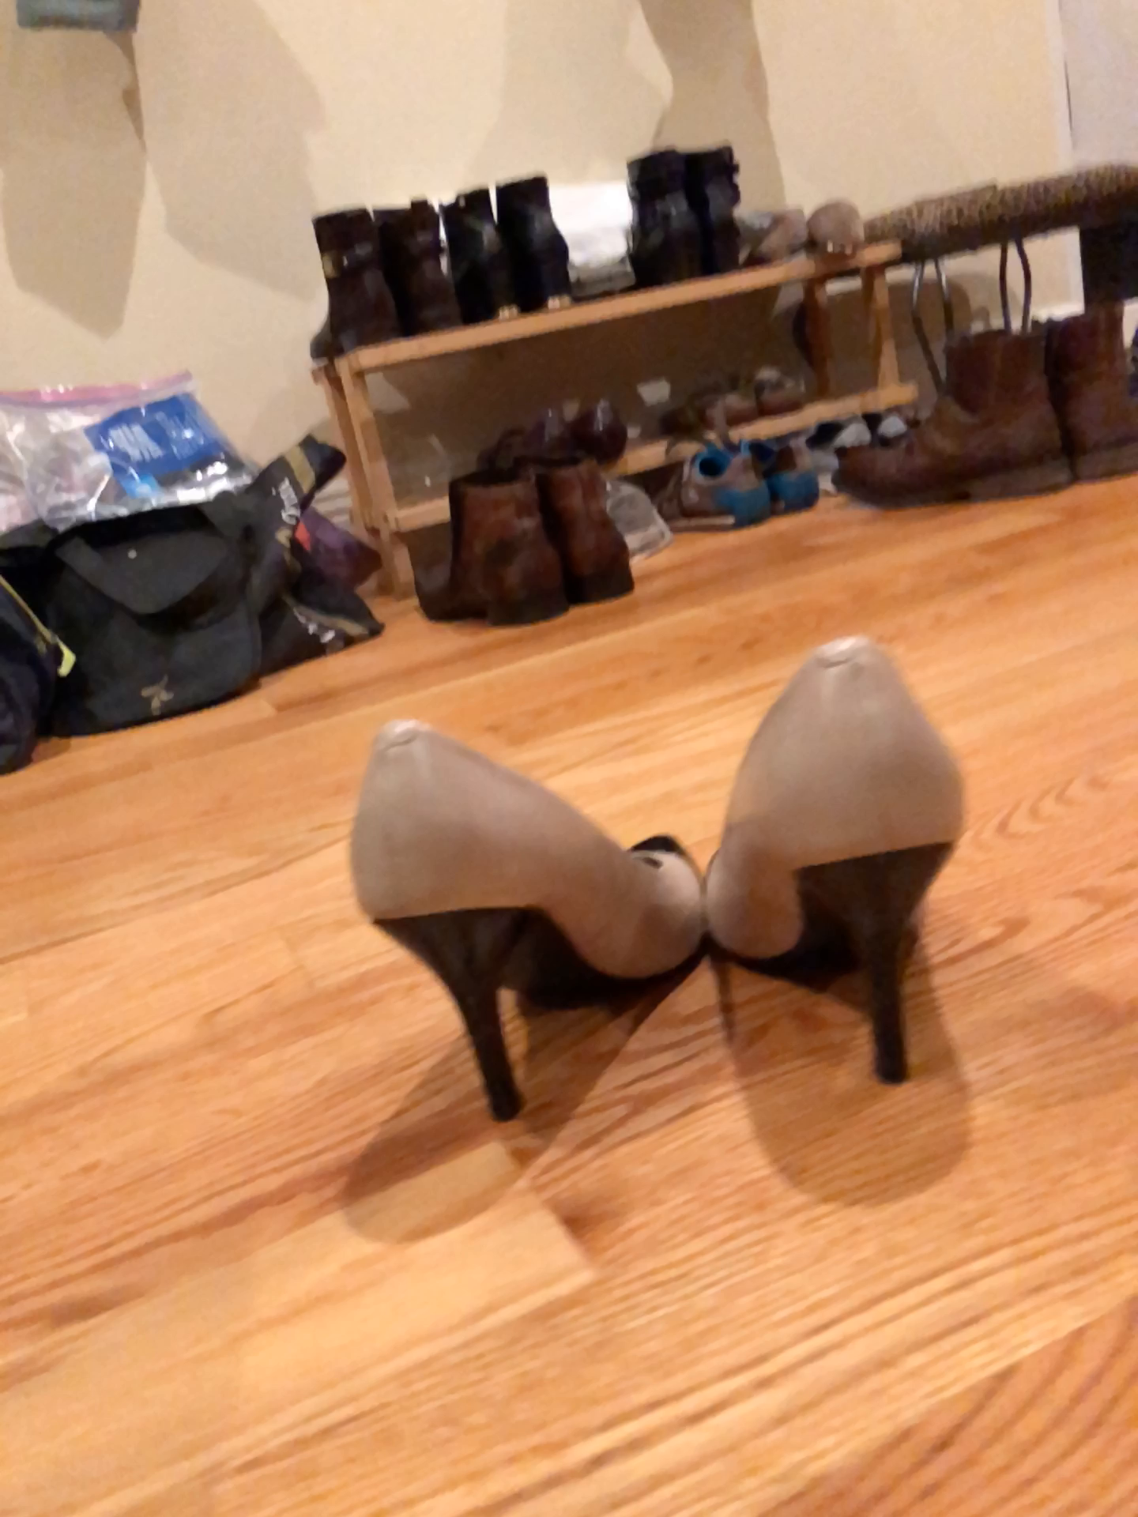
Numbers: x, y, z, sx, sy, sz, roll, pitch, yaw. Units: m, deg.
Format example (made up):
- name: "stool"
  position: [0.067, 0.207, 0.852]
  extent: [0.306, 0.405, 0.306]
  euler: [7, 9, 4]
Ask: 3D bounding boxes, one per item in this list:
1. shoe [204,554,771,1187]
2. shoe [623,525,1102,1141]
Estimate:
- name: "shoe"
  position: [-0.007, 0.022, 0.463]
  extent: [0.085, 0.139, 0.236]
  euler: [-4, 18, 26]
- name: "shoe"
  position: [0.089, 0.004, 0.453]
  extent: [0.085, 0.139, 0.236]
  euler: [-12, 16, -2]
